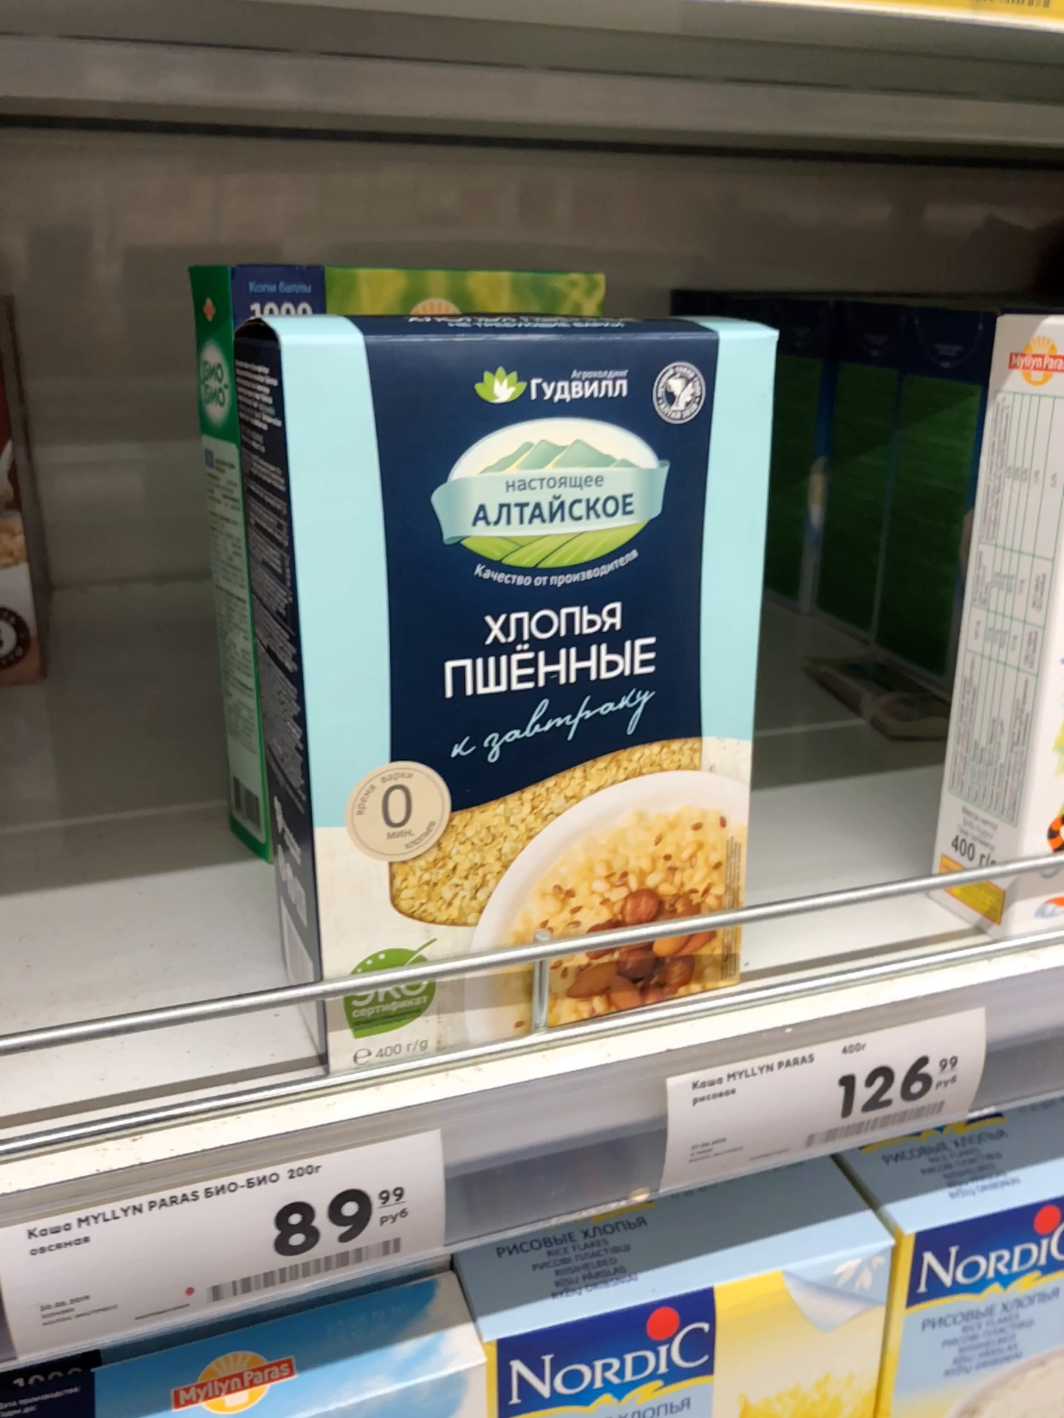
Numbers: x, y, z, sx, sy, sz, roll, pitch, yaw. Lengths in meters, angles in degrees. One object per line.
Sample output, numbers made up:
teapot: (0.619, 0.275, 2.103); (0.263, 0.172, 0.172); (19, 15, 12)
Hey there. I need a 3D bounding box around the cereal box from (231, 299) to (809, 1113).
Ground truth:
cereal box: (-0.004, -0.007, 0.325); (0.130, 0.199, 0.060); (-8, 20, -21)
